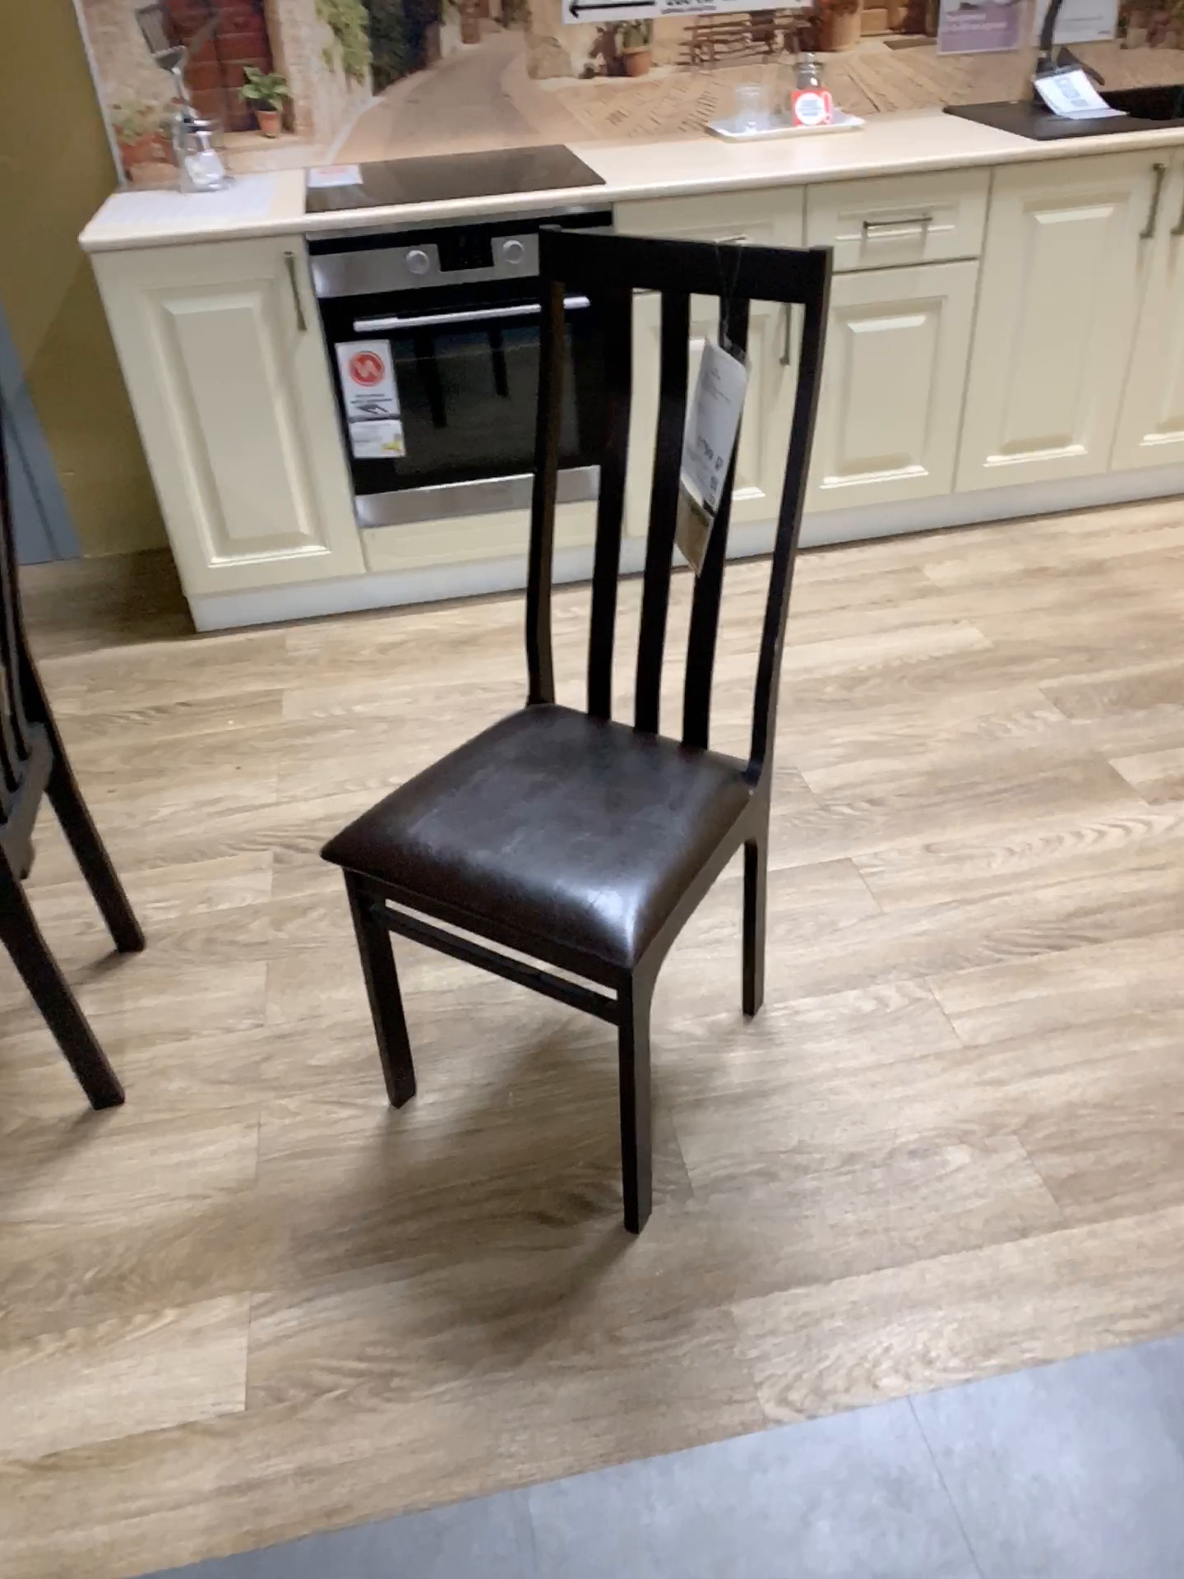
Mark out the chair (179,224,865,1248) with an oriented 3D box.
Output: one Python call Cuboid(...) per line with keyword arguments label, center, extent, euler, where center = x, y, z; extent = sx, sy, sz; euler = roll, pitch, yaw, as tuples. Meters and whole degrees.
Cuboid(label="chair", center=(-0.016, -0.052, 1.373), extent=(0.420, 0.985, 0.493), euler=(18, 41, 28))
